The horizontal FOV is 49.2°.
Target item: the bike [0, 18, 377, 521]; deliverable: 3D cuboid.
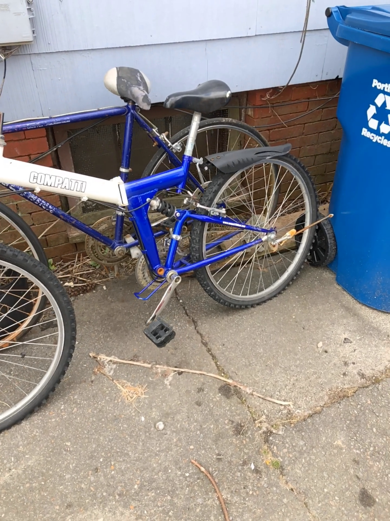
[{"bbox_3d":[-0.306,-0.106,1.473,1.731,0.979,0.564,-24,43,-24],"label":"bike"}]
